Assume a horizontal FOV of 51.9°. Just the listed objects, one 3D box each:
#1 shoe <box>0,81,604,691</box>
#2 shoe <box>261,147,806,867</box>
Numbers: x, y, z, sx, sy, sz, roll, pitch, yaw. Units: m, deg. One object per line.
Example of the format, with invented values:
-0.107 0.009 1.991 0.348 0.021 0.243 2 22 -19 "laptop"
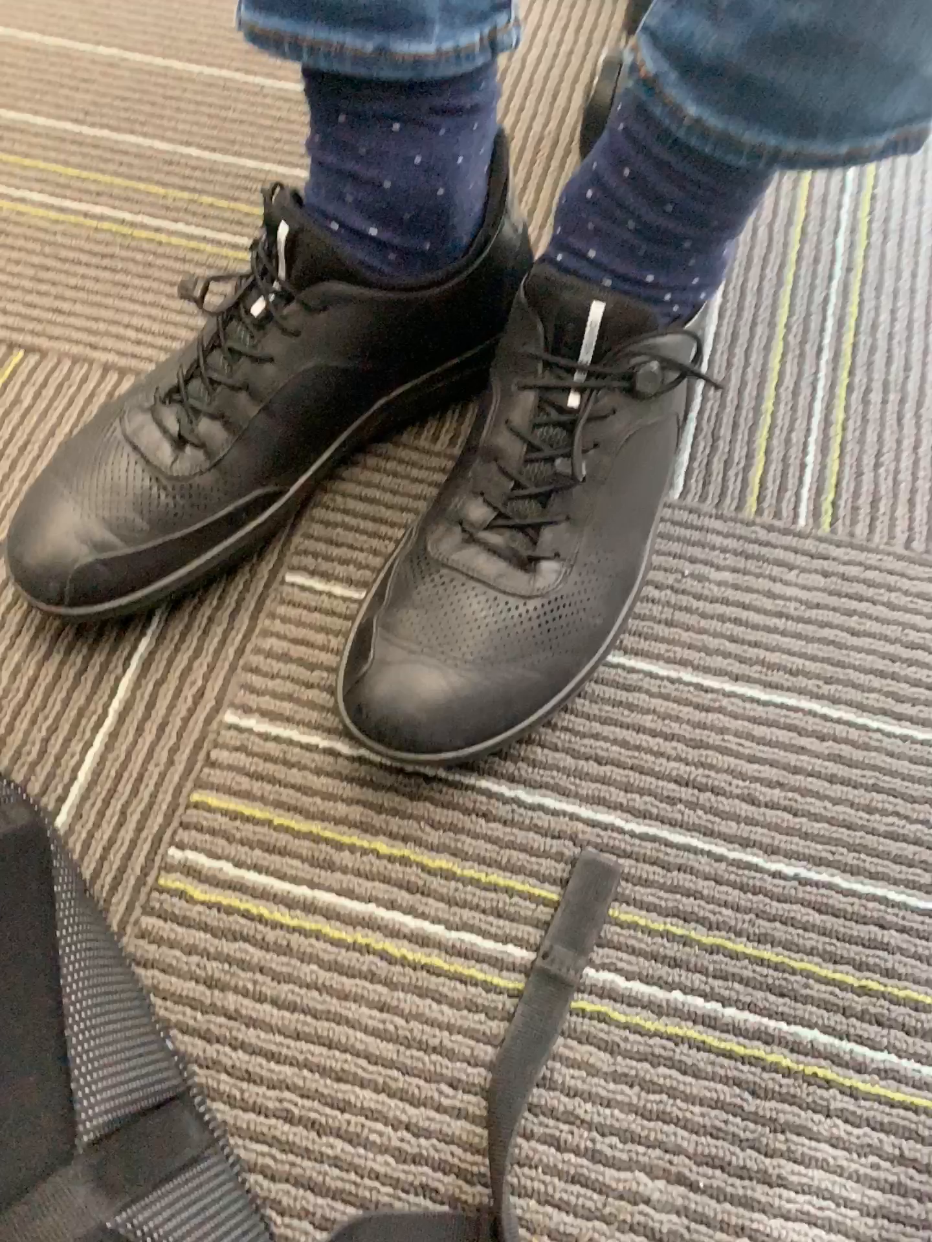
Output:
-0.089 -0.119 0.459 0.310 0.100 0.110 -39 70 -17 "shoe"
0.042 -0.063 0.440 0.110 0.100 0.310 23 66 11 "shoe"
